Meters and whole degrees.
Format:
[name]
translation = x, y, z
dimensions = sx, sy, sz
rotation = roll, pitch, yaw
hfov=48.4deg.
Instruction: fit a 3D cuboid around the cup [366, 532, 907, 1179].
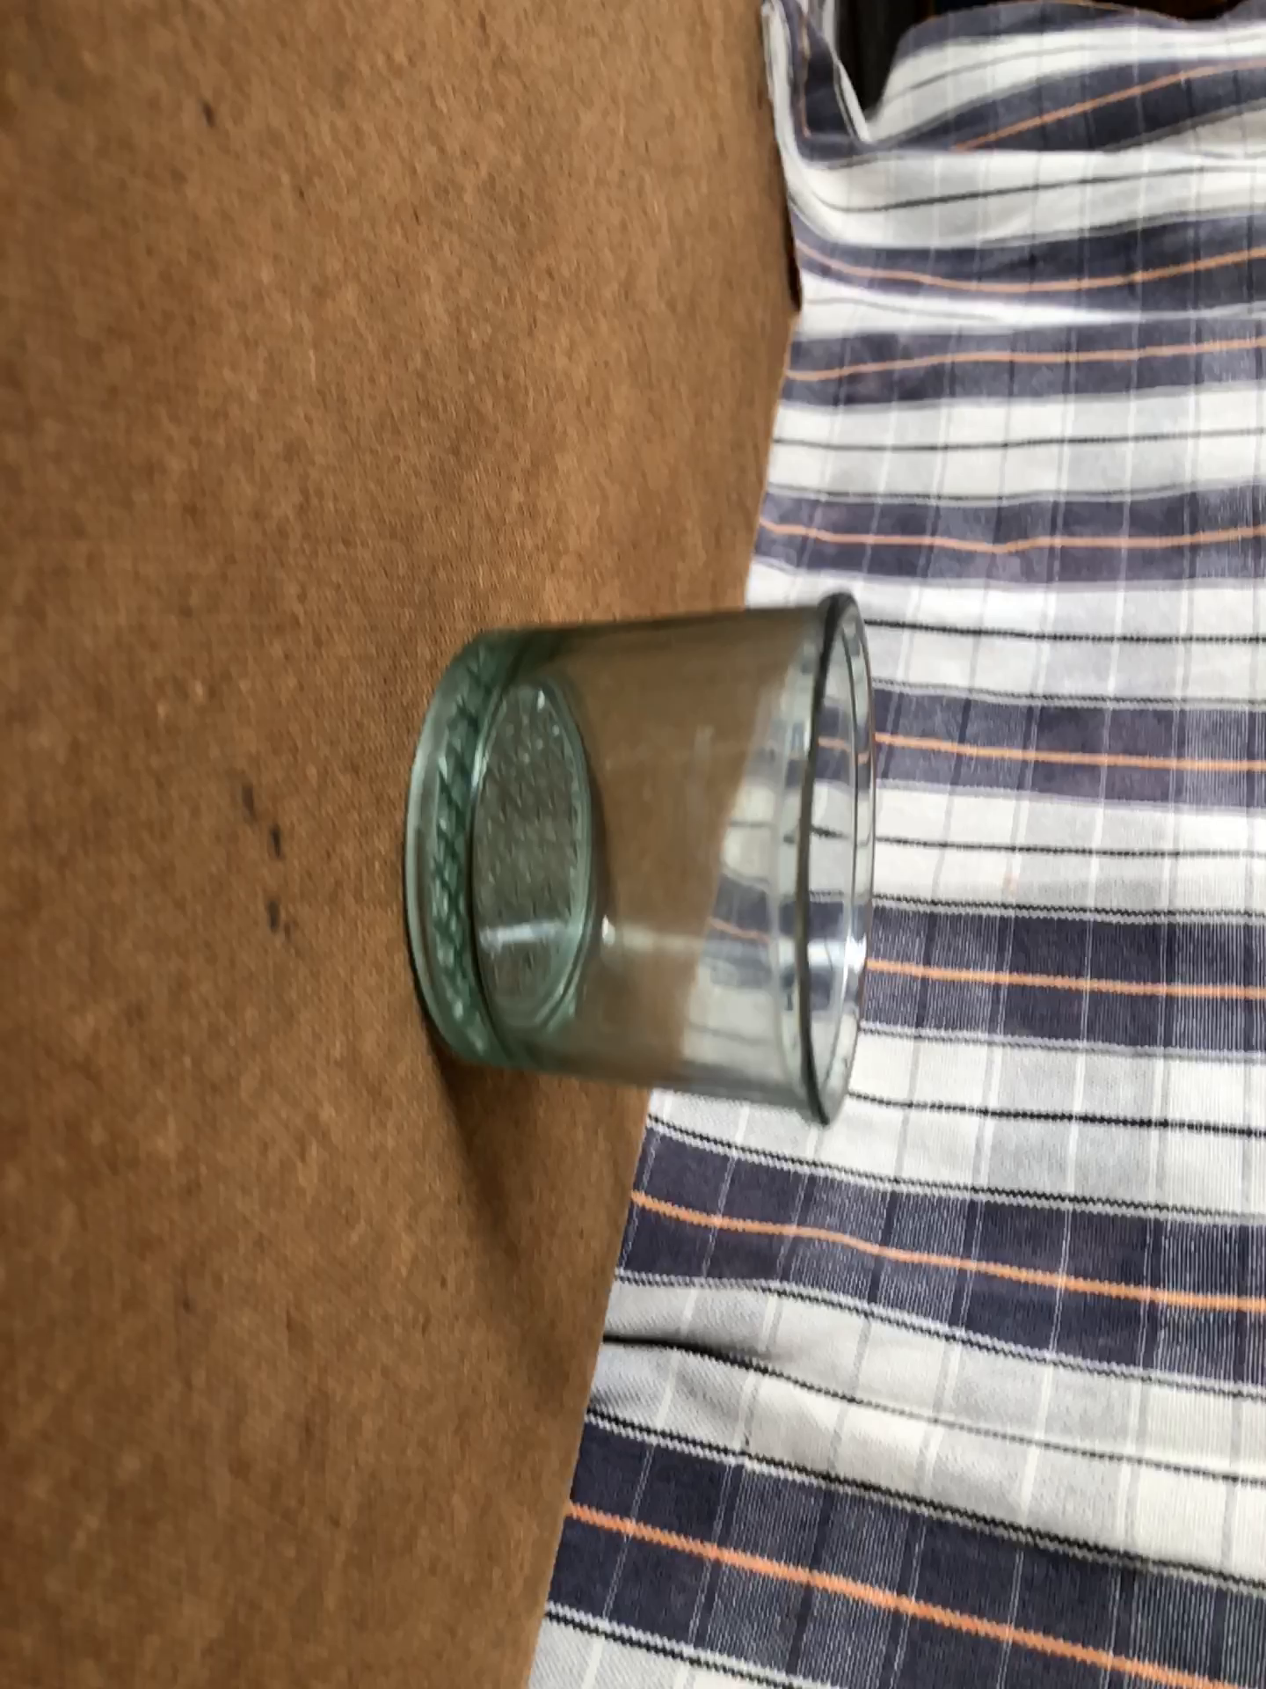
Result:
[cup]
translation = 0.009, -0.004, 0.219
dimensions = 0.080, 0.060, 0.070
rotation = -59, 147, -61
